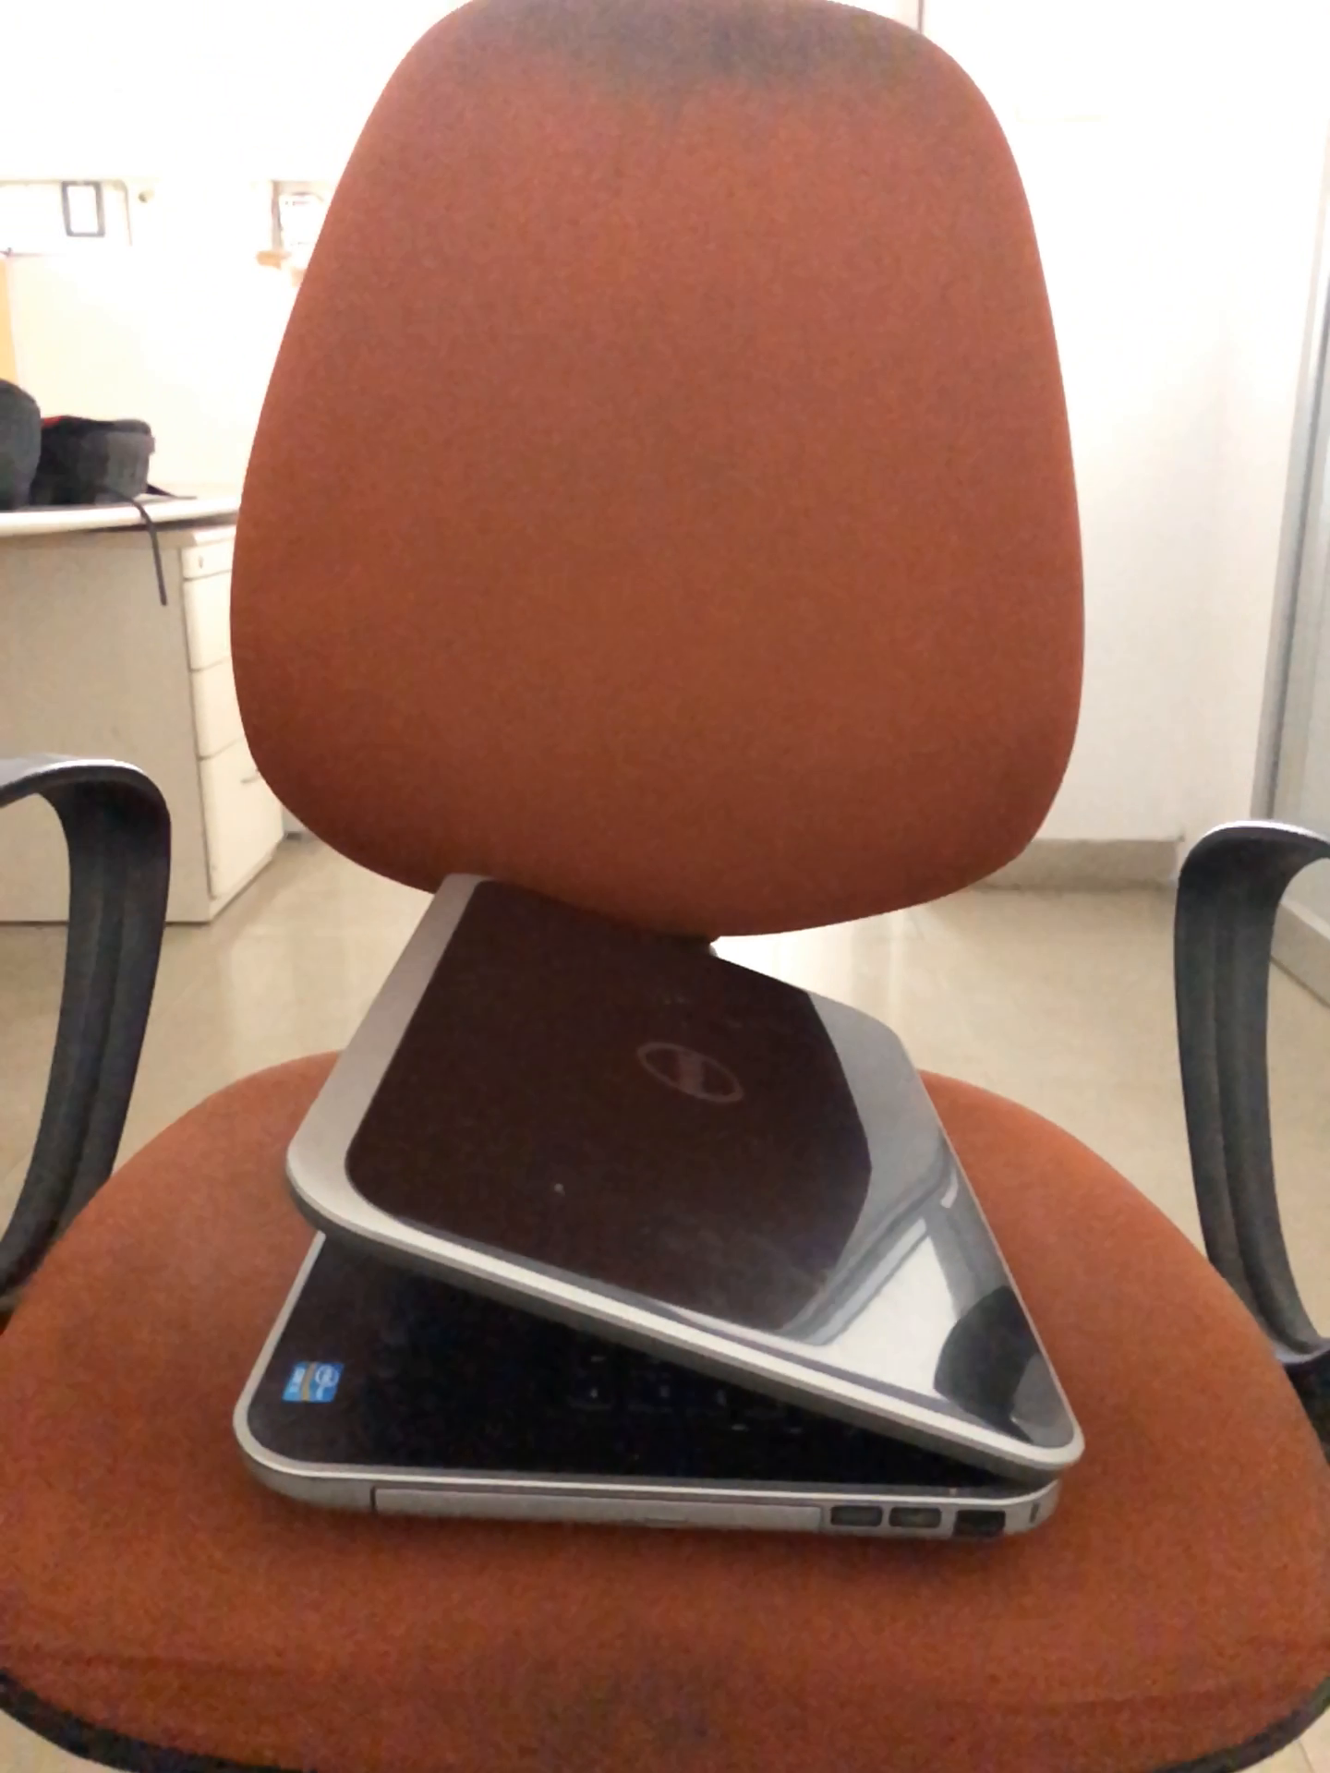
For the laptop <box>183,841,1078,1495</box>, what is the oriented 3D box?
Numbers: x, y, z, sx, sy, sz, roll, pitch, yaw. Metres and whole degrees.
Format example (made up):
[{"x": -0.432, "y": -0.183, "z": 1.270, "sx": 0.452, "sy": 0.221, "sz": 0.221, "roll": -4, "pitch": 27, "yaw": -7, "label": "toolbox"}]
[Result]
[{"x": -0.009, "y": 0.073, "z": 0.571, "sx": 0.233, "sy": 0.091, "sz": 0.367, "roll": 3, "pitch": 14, "yaw": -1, "label": "laptop"}]
